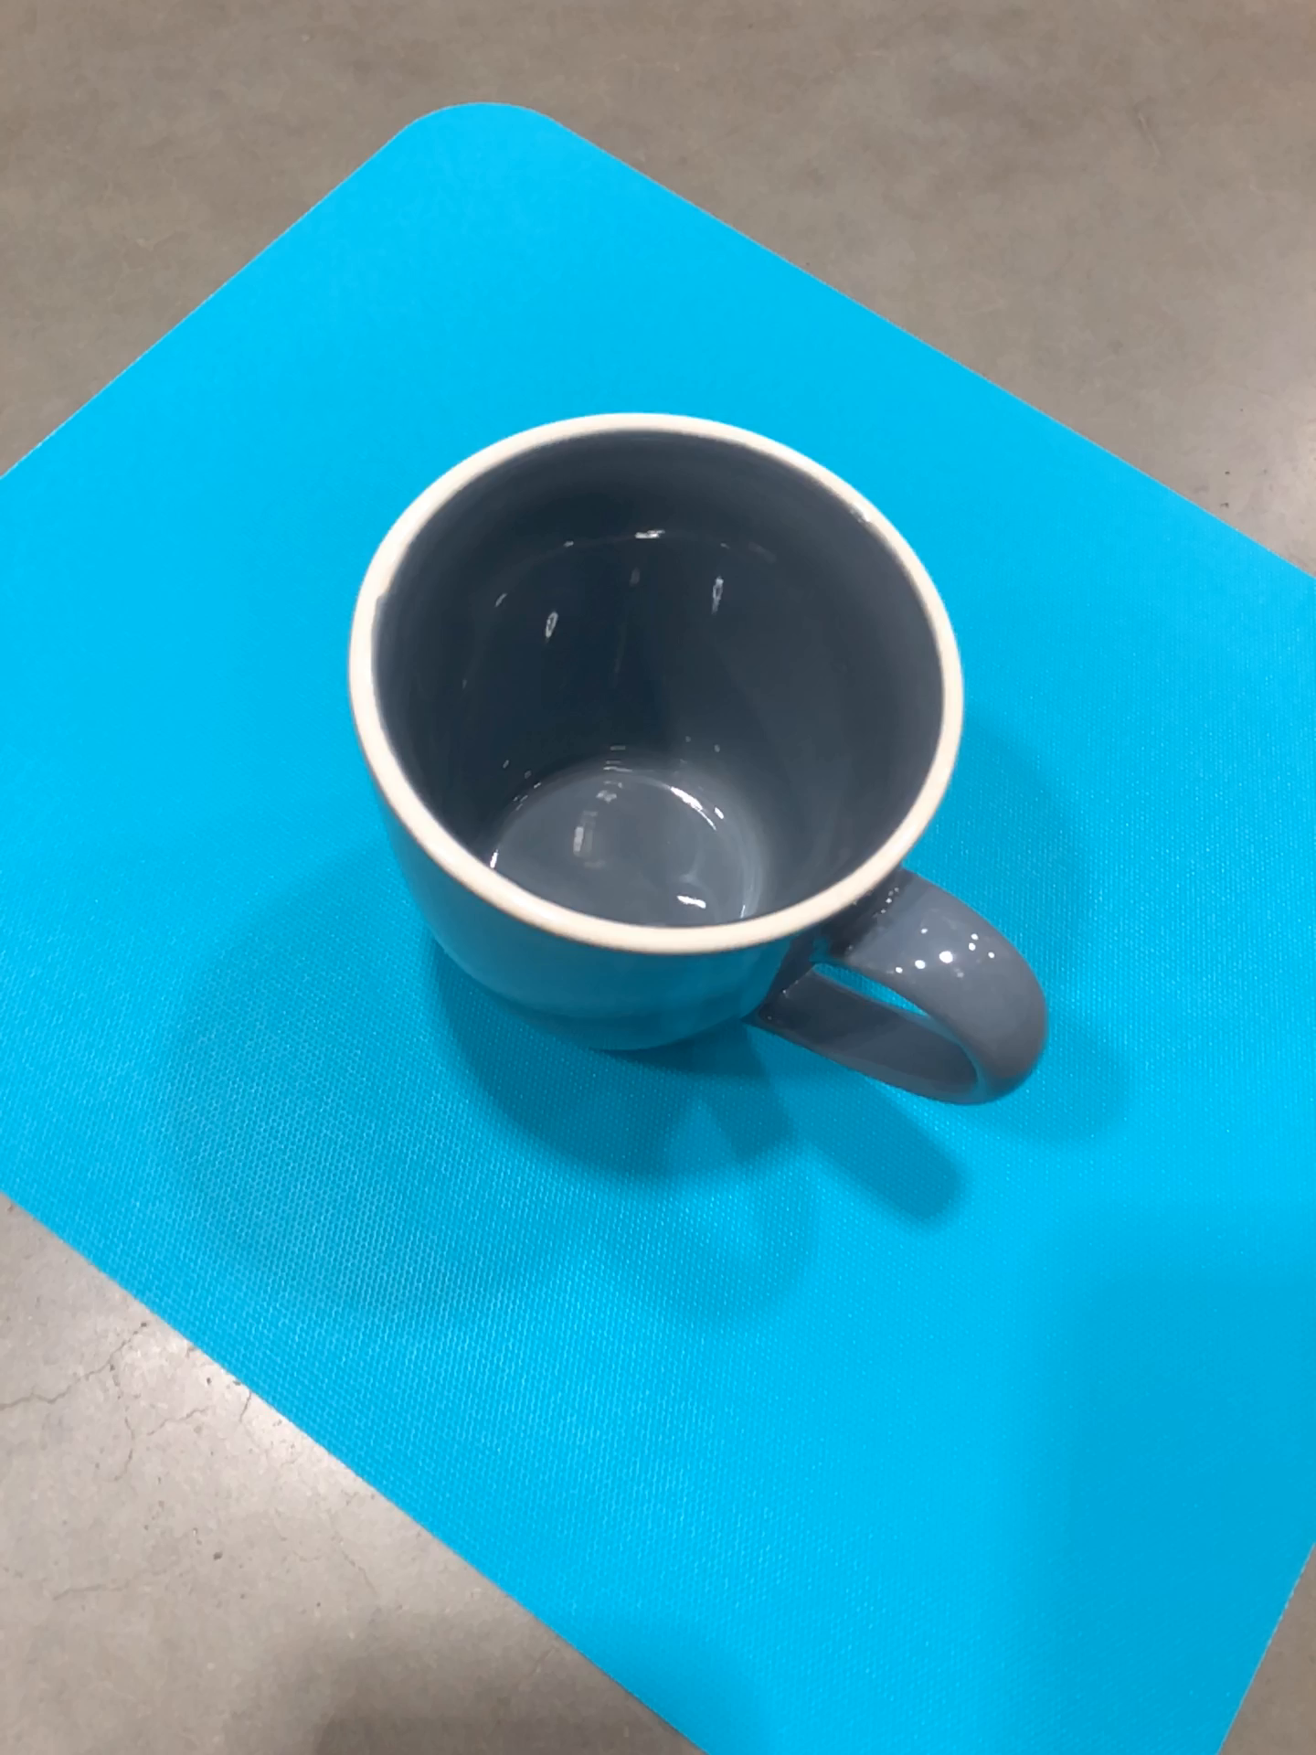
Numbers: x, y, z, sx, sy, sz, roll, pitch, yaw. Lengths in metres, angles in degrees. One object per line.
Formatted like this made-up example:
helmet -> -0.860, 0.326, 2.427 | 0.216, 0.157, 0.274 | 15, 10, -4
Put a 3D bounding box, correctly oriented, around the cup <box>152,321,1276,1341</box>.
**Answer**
cup -> 0.007, -0.004, 0.241 | 0.130, 0.080, 0.090 | 31, 68, 8
